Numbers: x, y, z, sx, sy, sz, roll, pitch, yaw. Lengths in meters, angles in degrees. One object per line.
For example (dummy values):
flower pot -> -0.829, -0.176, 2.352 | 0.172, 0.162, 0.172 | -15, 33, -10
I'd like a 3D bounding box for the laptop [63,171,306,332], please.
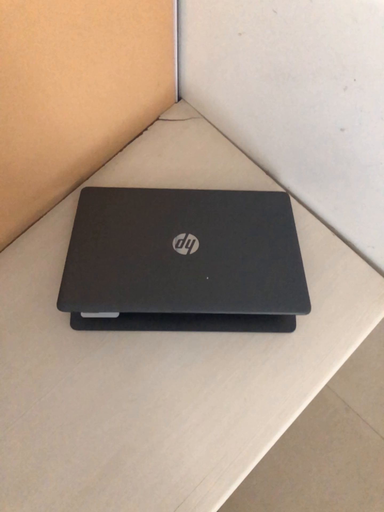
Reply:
laptop -> -0.012, -0.005, 0.693 | 0.361, 0.074, 0.237 | 1, 77, -1
